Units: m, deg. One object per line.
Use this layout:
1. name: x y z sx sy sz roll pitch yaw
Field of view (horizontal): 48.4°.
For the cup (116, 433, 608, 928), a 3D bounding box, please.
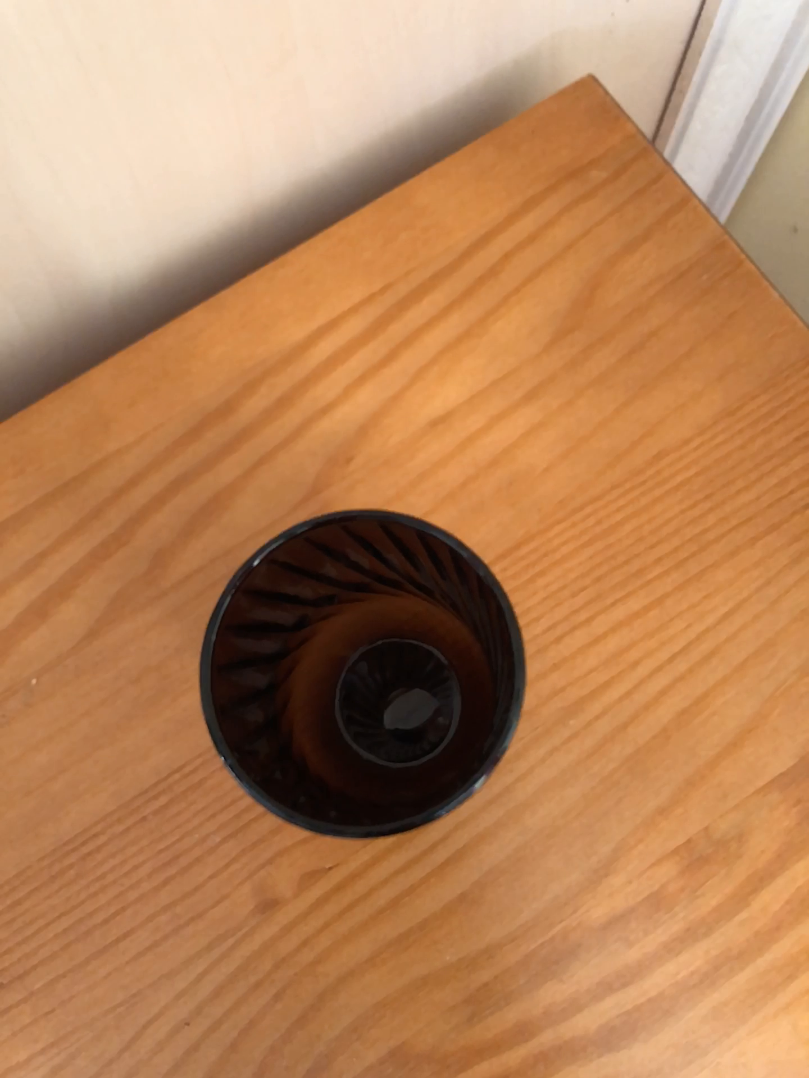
1. cup: -0.005 0.035 0.211 0.061 0.113 0.060 -1 76 2
